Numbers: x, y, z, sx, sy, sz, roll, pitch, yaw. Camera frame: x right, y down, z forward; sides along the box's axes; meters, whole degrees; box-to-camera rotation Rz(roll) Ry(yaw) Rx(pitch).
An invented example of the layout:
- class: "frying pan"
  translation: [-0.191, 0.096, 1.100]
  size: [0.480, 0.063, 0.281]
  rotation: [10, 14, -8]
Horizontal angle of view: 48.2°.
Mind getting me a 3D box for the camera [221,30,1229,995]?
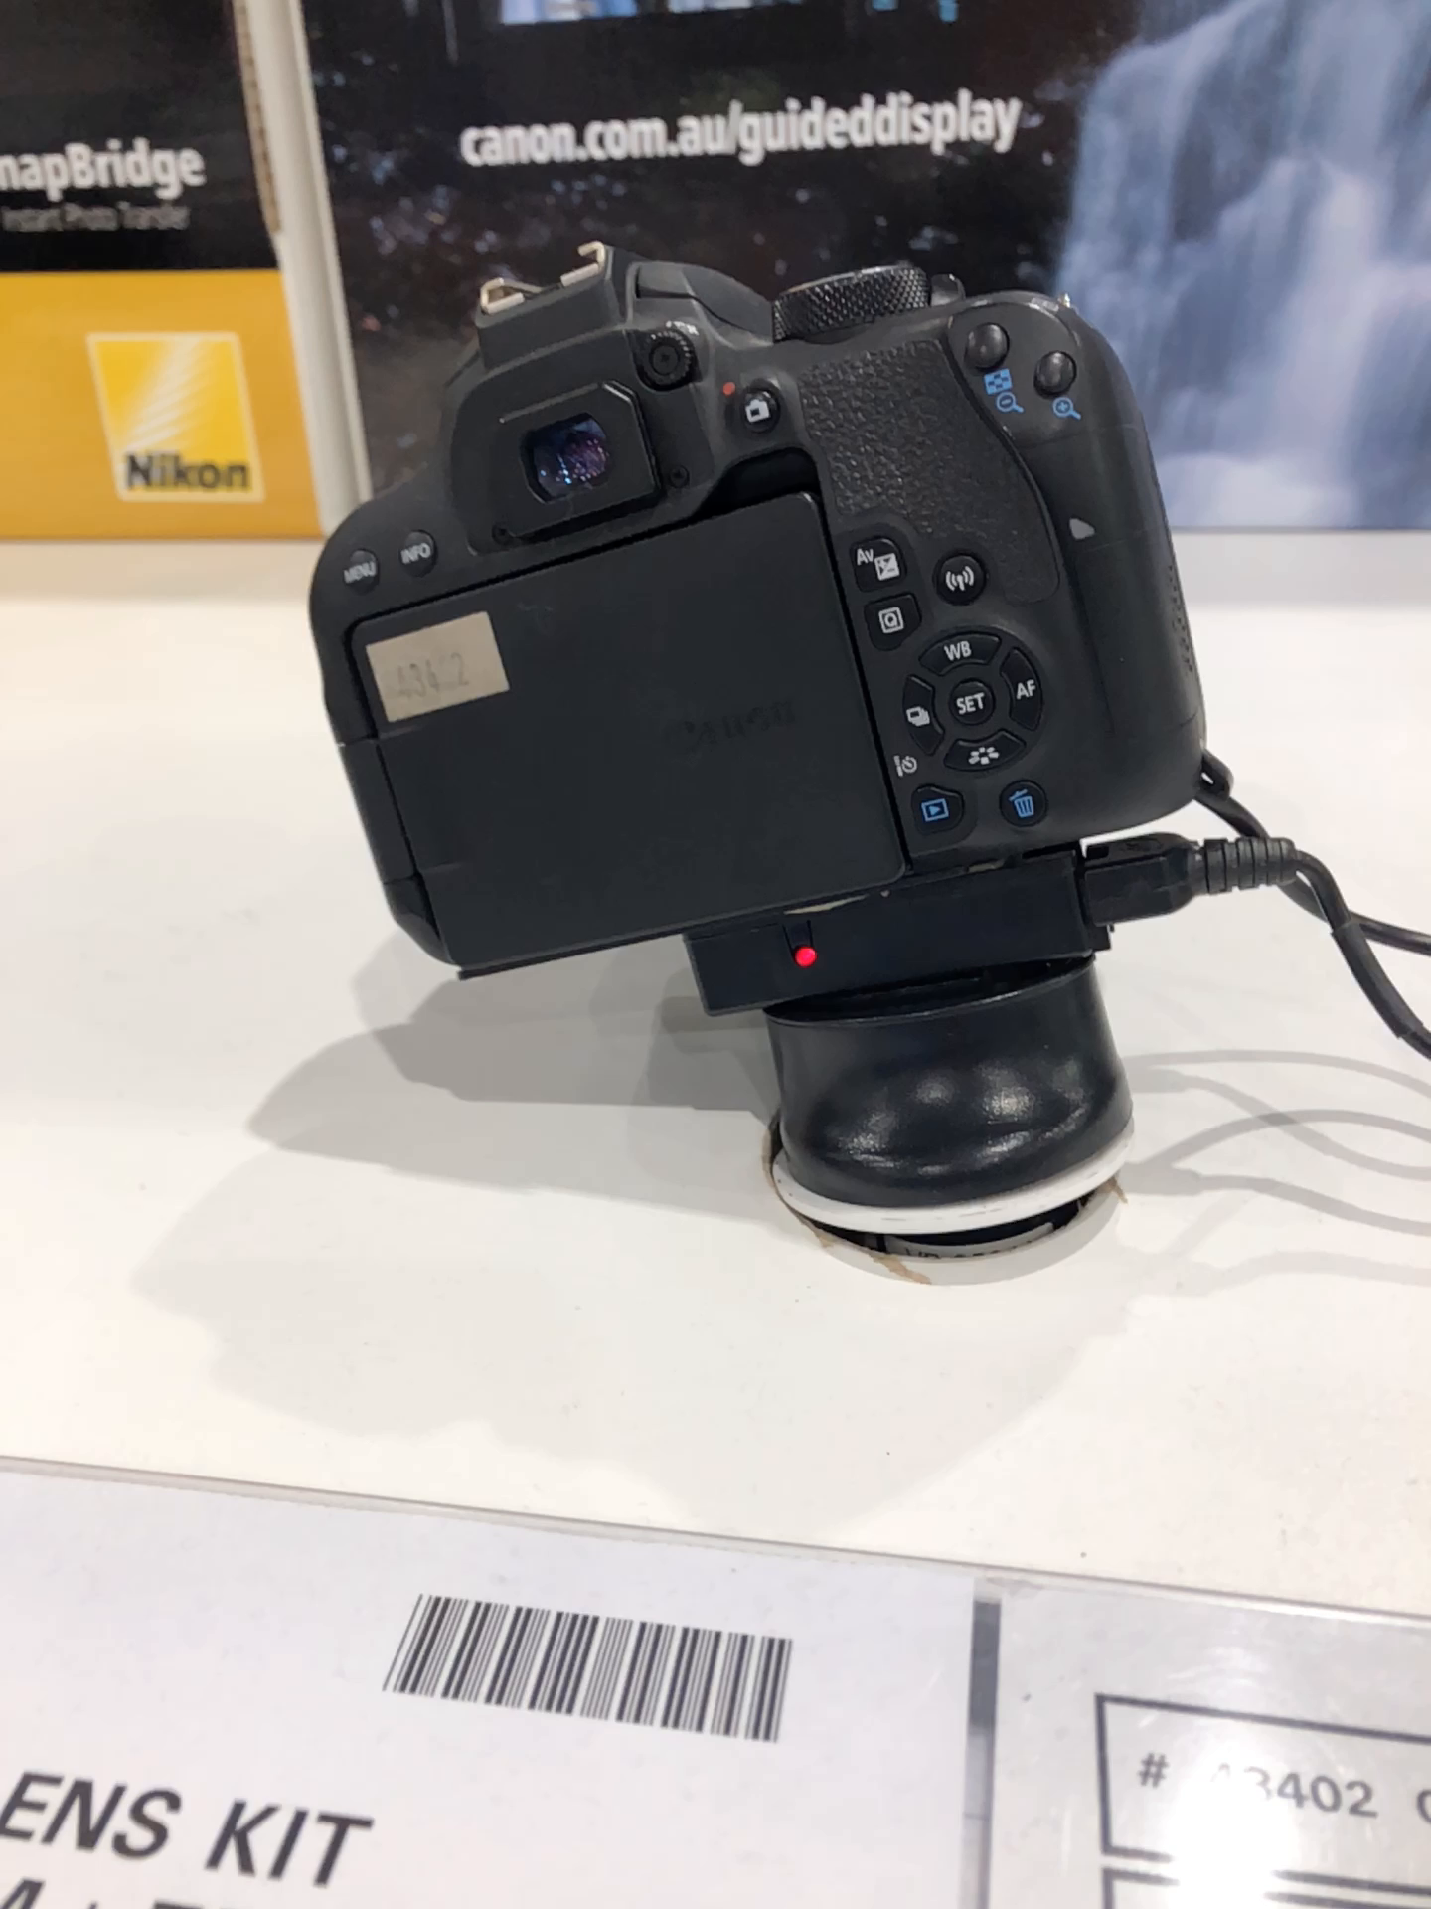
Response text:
- class: "camera"
  translation: [0.007, -0.064, 0.268]
  size: [0.130, 0.105, 0.070]
  rotation: [-13, 8, 18]
